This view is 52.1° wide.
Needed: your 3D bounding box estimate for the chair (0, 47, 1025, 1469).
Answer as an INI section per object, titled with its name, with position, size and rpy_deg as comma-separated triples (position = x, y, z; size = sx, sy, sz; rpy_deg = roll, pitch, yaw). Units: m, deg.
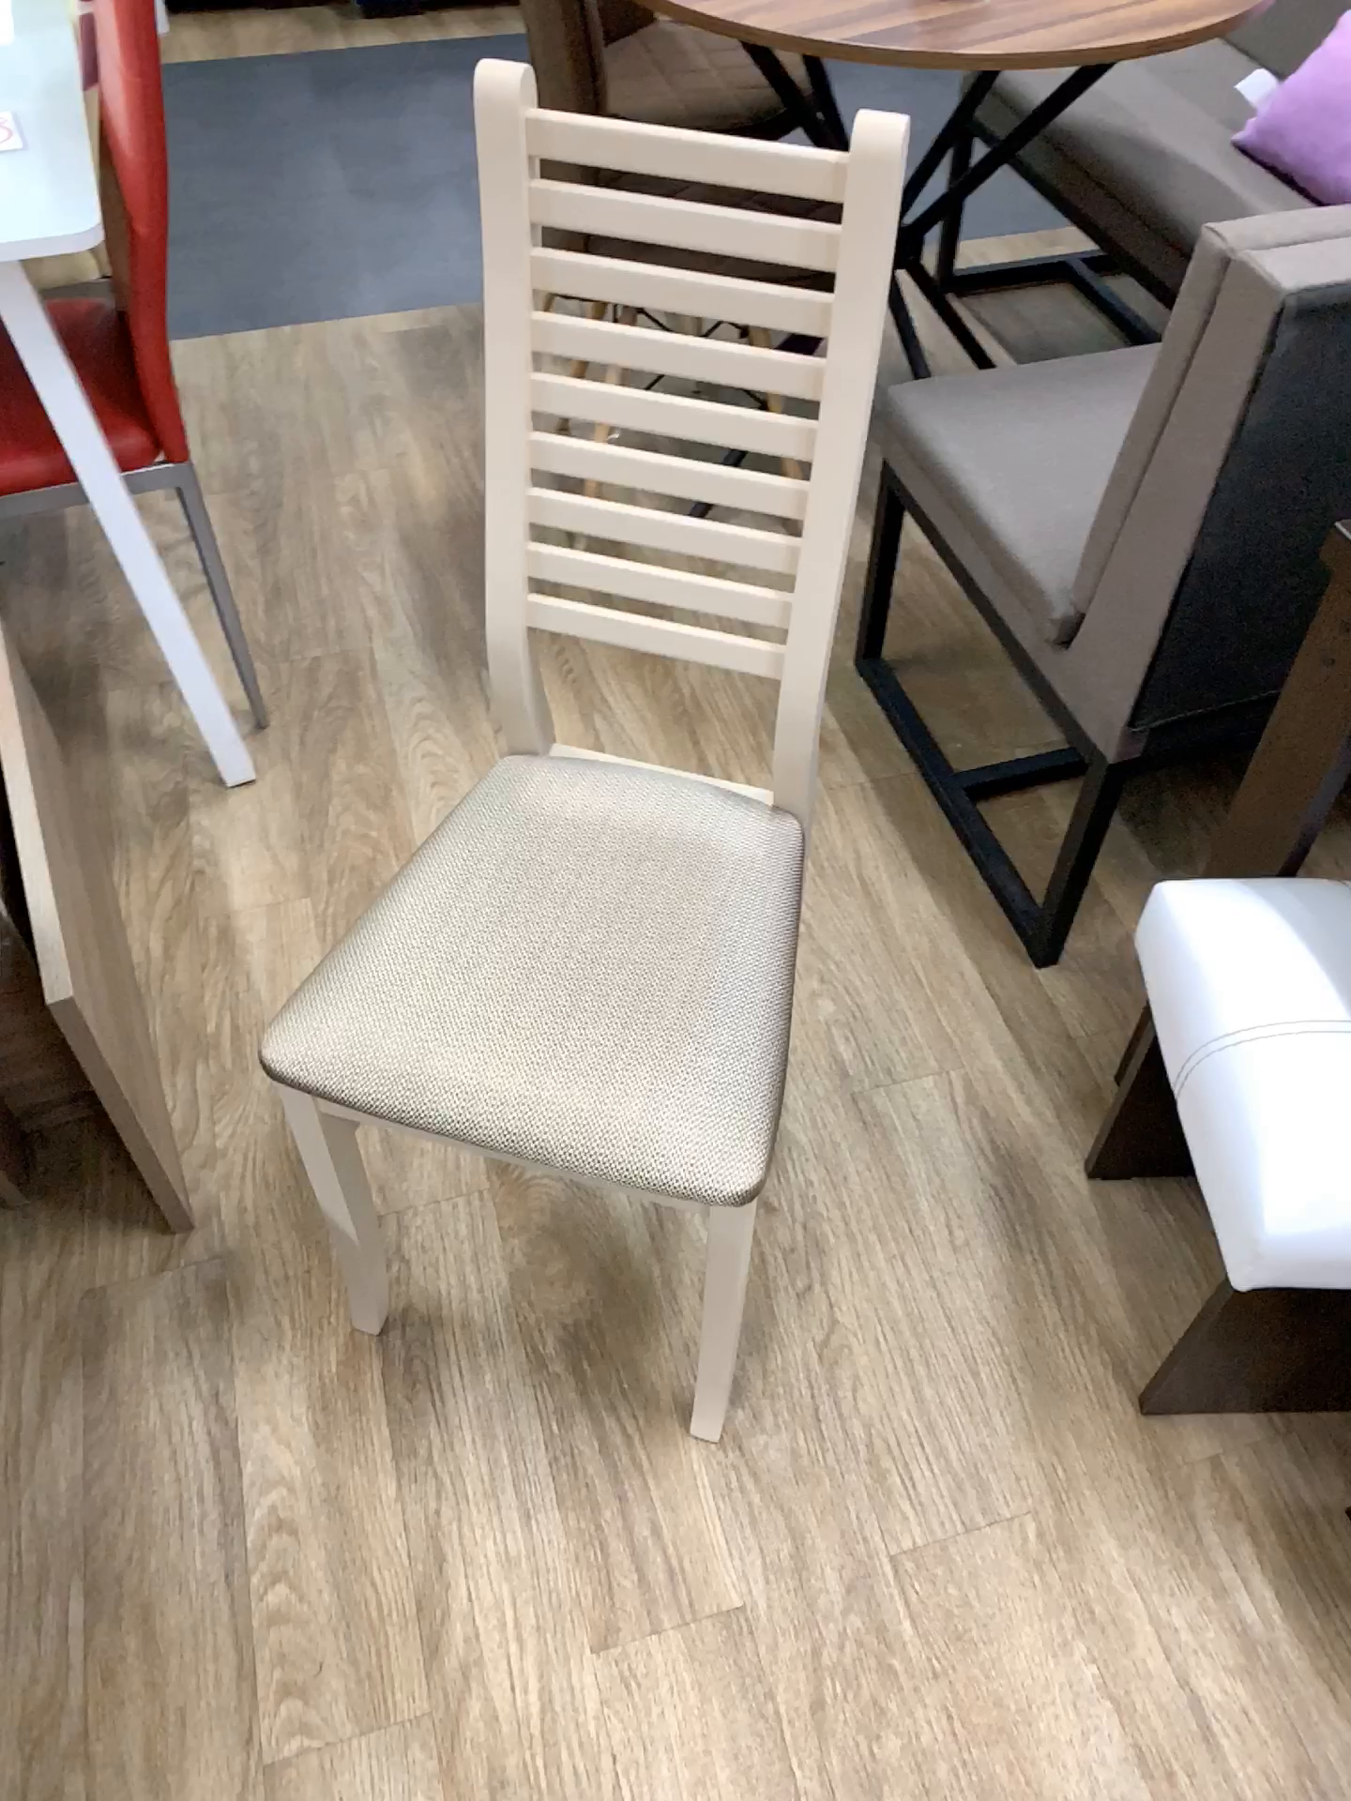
[chair]
position = -0.069, -0.036, 1.142
size = 0.440, 0.985, 0.553
rpy_deg = 14, 50, 11
